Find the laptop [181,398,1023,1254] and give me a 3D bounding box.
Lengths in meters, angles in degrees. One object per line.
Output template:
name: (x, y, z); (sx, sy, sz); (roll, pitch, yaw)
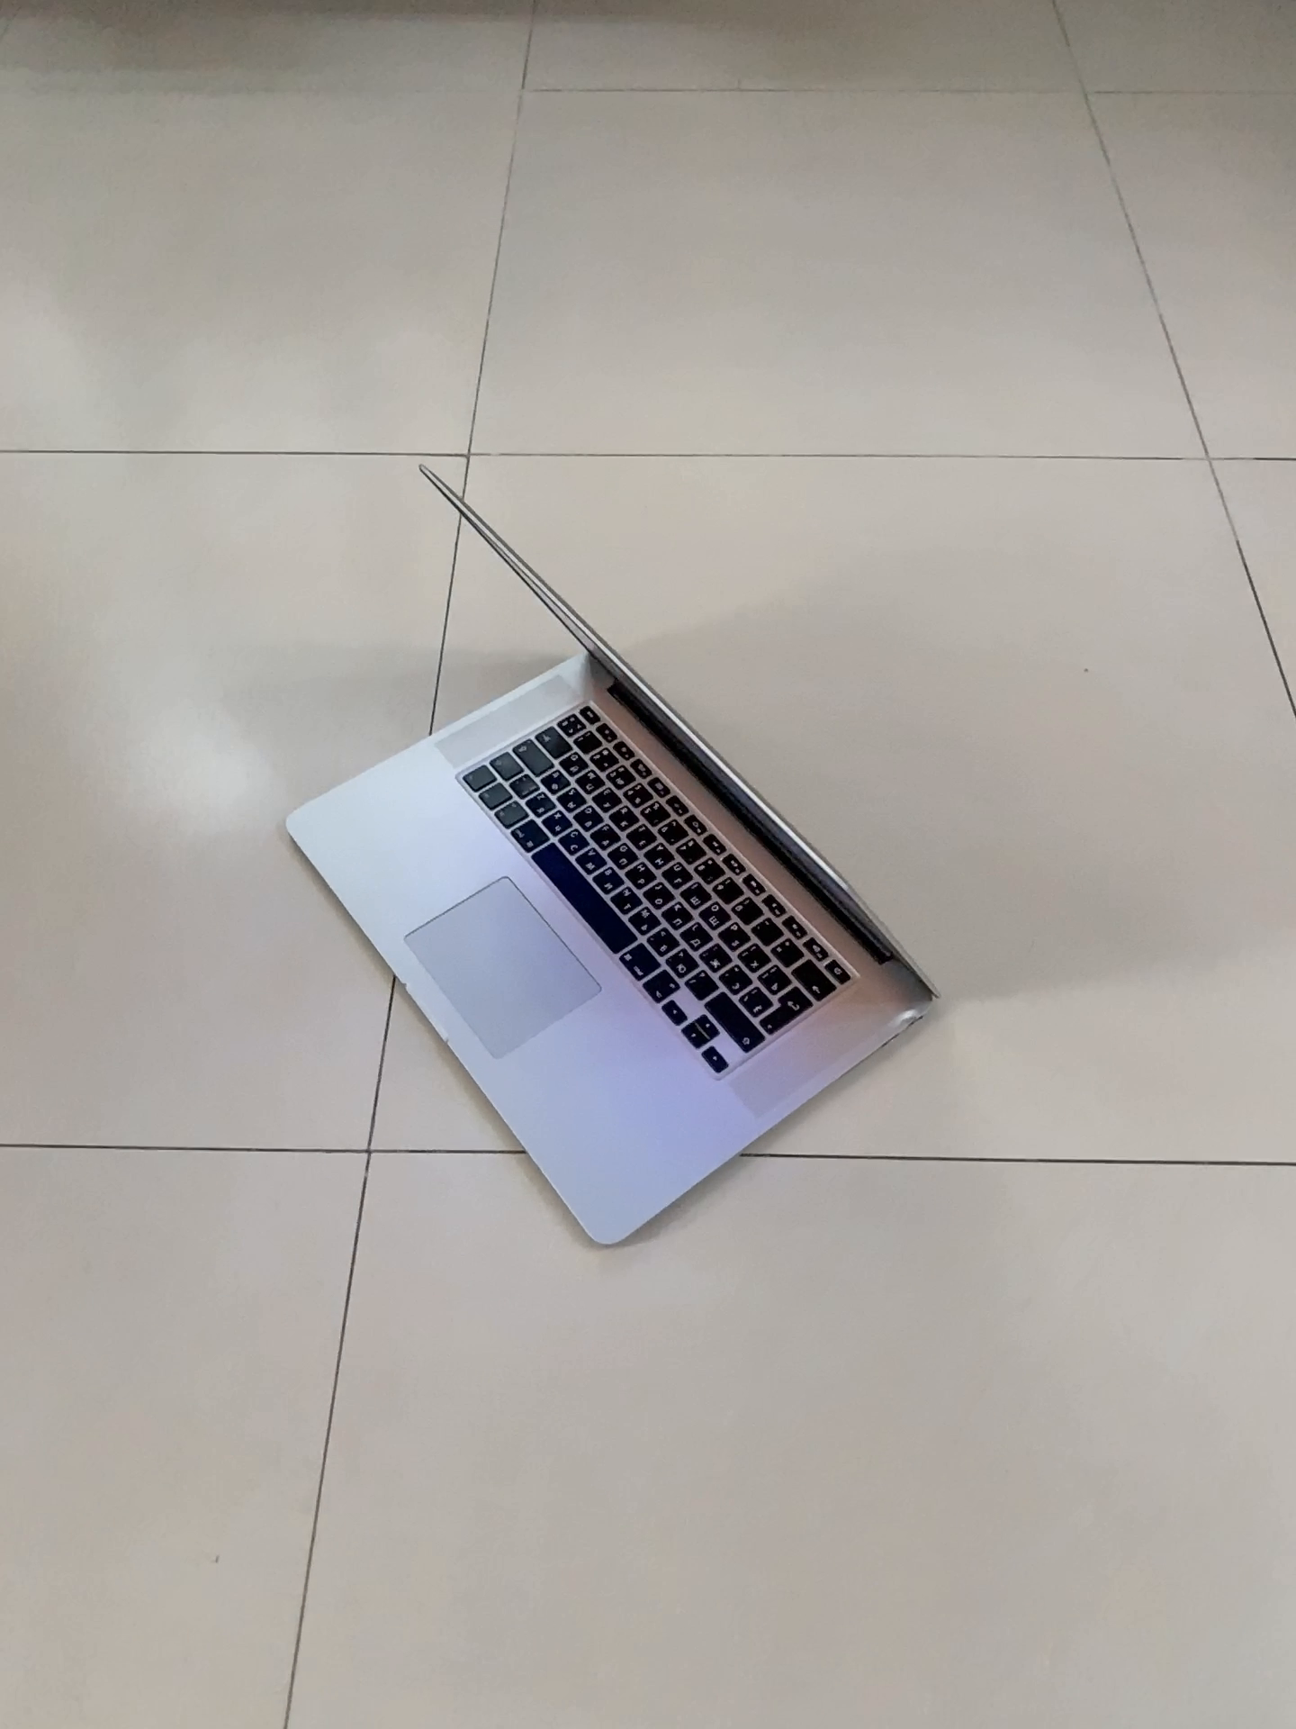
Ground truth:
laptop: (-0.036, -0.033, 0.729); (0.242, 0.208, 0.360); (-32, 61, -20)
